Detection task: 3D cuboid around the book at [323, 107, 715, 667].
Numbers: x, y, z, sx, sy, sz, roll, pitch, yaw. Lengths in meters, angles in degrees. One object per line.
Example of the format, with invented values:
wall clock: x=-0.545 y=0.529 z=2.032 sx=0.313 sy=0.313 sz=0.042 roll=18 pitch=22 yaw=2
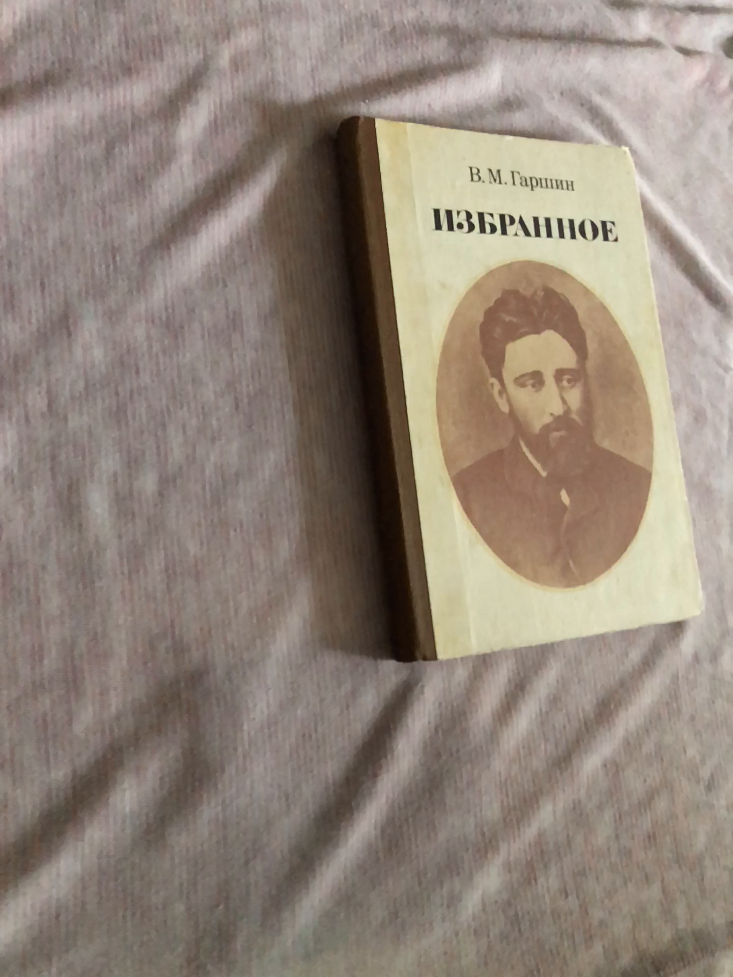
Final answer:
book: x=0.066 y=-0.046 z=0.352 sx=0.142 sy=0.030 sz=0.220 roll=-5 pitch=83 yaw=-23
